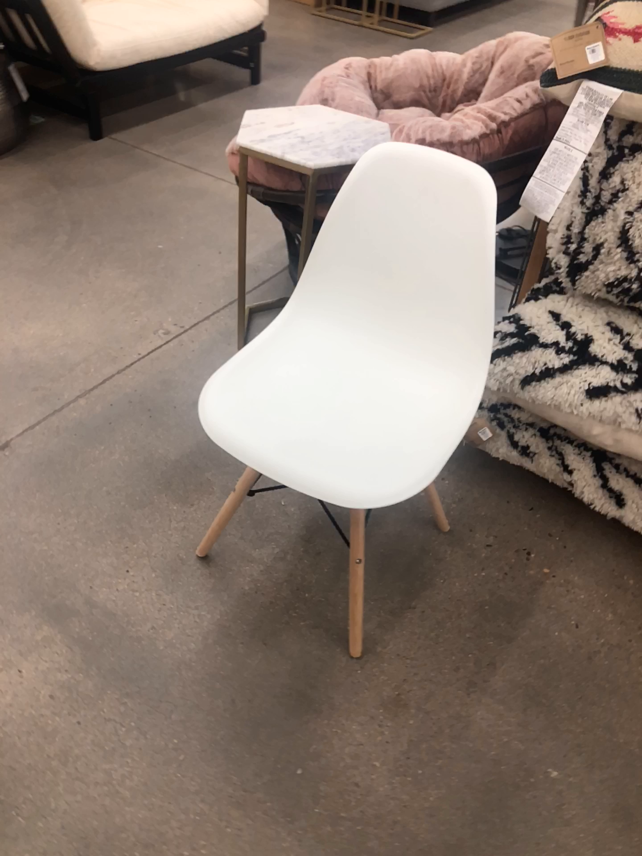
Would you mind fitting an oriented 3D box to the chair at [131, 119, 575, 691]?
[{"bbox_3d":[0.045,-0.037,1.310,0.440,0.806,0.532,28,46,23],"label":"chair"}]
